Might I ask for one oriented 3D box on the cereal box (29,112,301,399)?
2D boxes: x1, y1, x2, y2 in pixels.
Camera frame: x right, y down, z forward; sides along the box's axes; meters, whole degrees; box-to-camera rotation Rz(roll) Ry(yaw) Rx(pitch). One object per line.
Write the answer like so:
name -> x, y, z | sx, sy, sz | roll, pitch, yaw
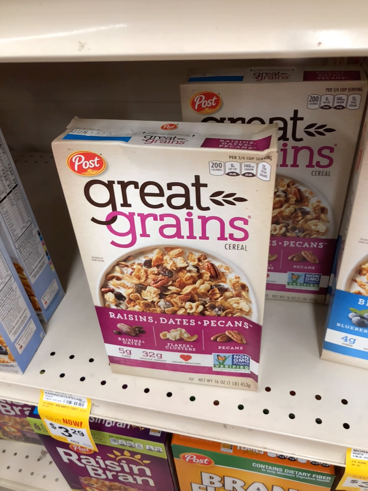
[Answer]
cereal box -> -0.003, 0.027, 0.355 | 0.170, 0.269, 0.050 | 4, 41, 11
